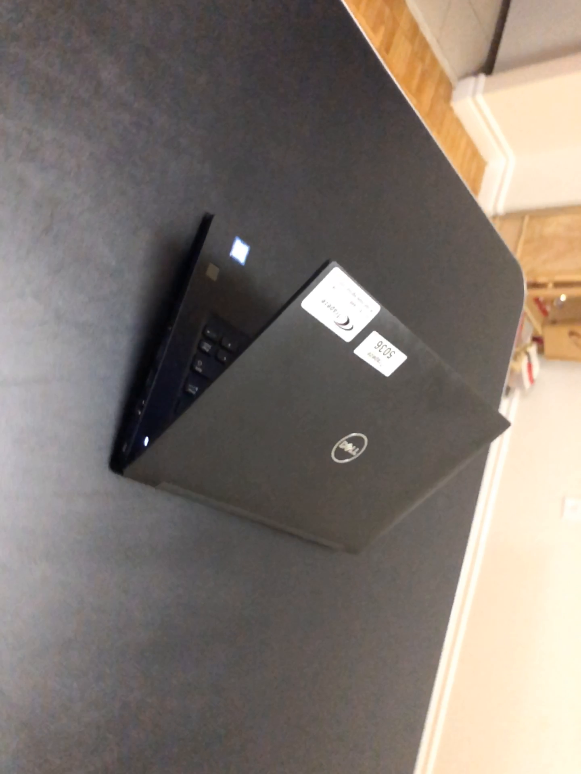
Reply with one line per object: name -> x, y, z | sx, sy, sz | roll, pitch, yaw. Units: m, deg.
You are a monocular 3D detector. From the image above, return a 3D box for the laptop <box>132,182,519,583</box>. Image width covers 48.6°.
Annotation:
laptop -> 0.059, 0.019, 0.575 | 0.320, 0.142, 0.220 | 33, 70, -46
